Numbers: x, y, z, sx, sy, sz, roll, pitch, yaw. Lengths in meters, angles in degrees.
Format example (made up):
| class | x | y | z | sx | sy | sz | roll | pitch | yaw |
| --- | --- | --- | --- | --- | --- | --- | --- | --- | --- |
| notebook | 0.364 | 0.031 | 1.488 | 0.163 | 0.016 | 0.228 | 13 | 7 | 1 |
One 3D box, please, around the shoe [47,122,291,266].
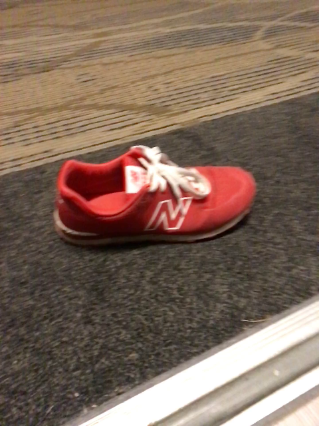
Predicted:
| class | x | y | z | sx | sy | sz | roll | pitch | yaw |
| --- | --- | --- | --- | --- | --- | --- | --- | --- | --- |
| shoe | 0.006 | -0.026 | 0.428 | 0.257 | 0.107 | 0.101 | -8 | 47 | -9 |
